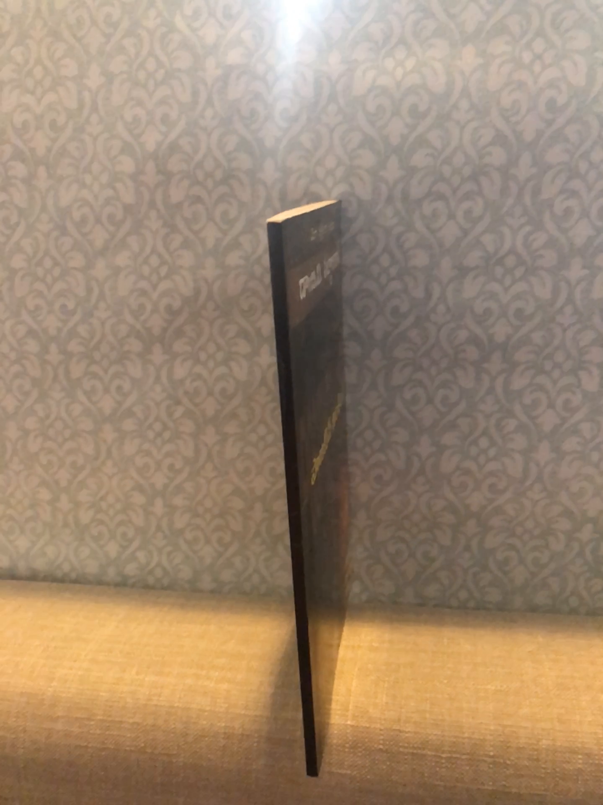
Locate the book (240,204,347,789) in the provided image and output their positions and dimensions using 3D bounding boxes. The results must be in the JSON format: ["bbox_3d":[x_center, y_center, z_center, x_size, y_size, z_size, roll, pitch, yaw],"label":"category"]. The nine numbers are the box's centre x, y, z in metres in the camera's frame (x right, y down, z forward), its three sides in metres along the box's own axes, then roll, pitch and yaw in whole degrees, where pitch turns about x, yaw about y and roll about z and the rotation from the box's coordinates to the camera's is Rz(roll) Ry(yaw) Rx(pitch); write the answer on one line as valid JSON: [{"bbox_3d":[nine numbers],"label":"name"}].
[{"bbox_3d":[0.004,0.019,0.248,0.011,0.175,0.127,-1,16,8],"label":"book"}]
